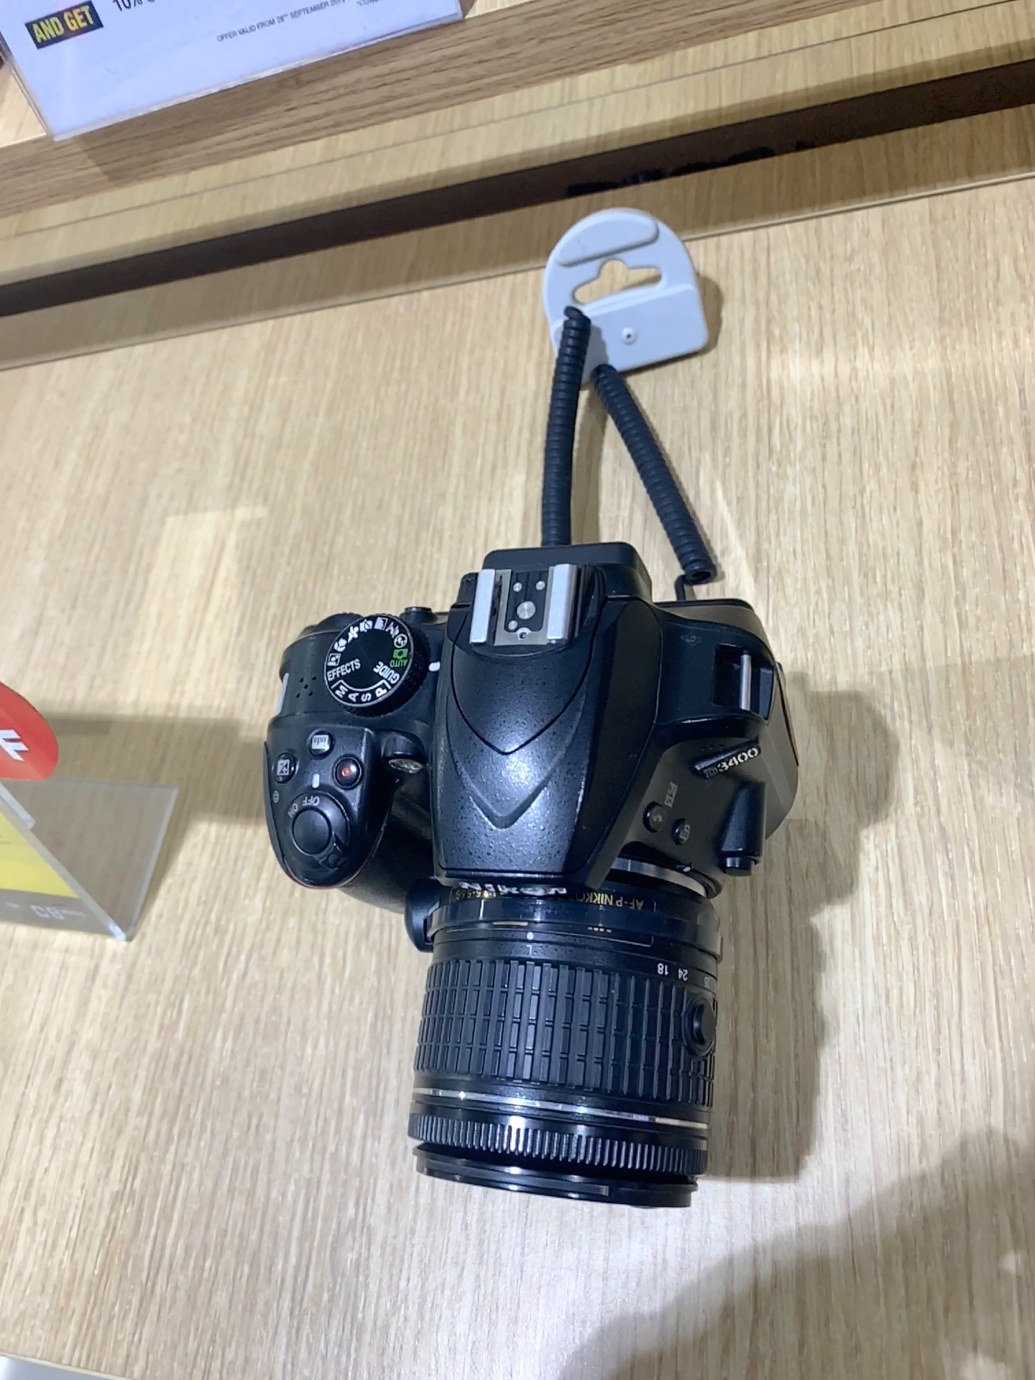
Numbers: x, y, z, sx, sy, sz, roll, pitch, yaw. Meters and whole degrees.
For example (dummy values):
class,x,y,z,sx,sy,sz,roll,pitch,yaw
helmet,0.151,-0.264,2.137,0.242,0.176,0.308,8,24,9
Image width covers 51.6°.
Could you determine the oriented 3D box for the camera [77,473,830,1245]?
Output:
class,x,y,z,sx,sy,sz,roll,pitch,yaw
camera,0.000,0.040,0.233,0.120,0.090,0.130,-4,63,20
